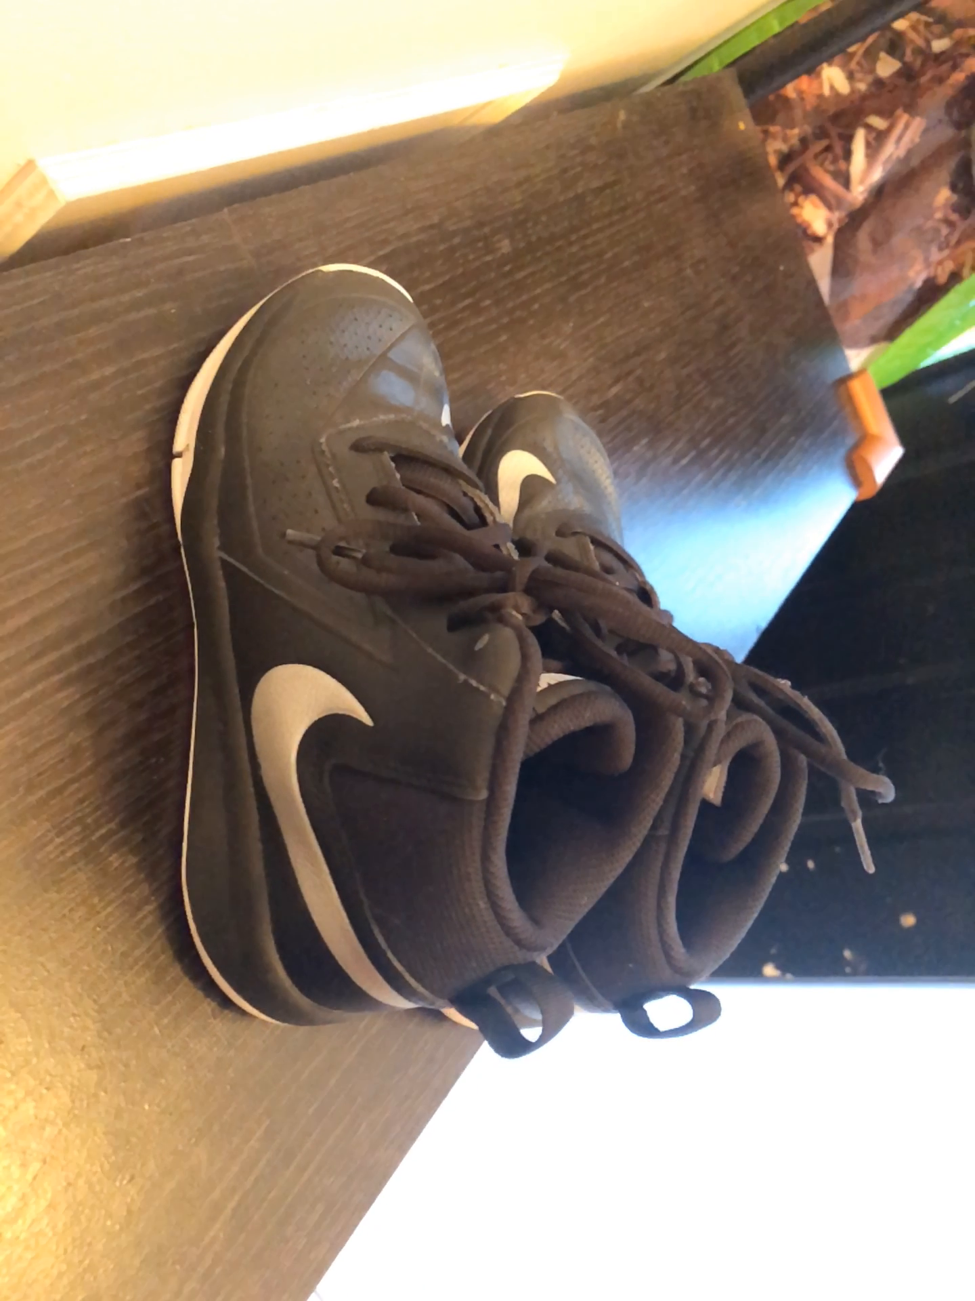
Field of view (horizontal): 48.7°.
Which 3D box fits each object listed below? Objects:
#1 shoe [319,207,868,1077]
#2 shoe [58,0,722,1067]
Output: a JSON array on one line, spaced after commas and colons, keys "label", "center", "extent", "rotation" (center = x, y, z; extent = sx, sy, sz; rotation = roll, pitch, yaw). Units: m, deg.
[{"label": "shoe", "center": [0.037, 0.006, 0.367], "extent": [0.100, 0.129, 0.251], "rotation": [24, 61, -42]}, {"label": "shoe", "center": [-0.028, -0.030, 0.300], "extent": [0.100, 0.129, 0.260], "rotation": [16, 66, -45]}]
